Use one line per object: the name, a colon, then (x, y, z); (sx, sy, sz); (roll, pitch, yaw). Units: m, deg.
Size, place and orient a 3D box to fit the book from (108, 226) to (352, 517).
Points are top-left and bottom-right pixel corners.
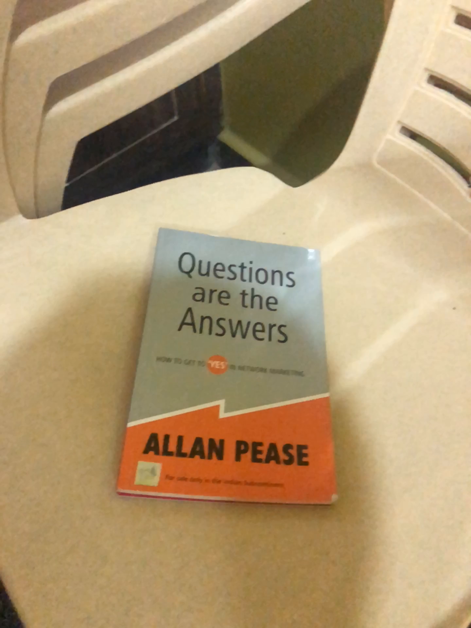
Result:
book: (0.002, 0.031, 0.382); (0.150, 0.020, 0.210); (6, 58, -4)
